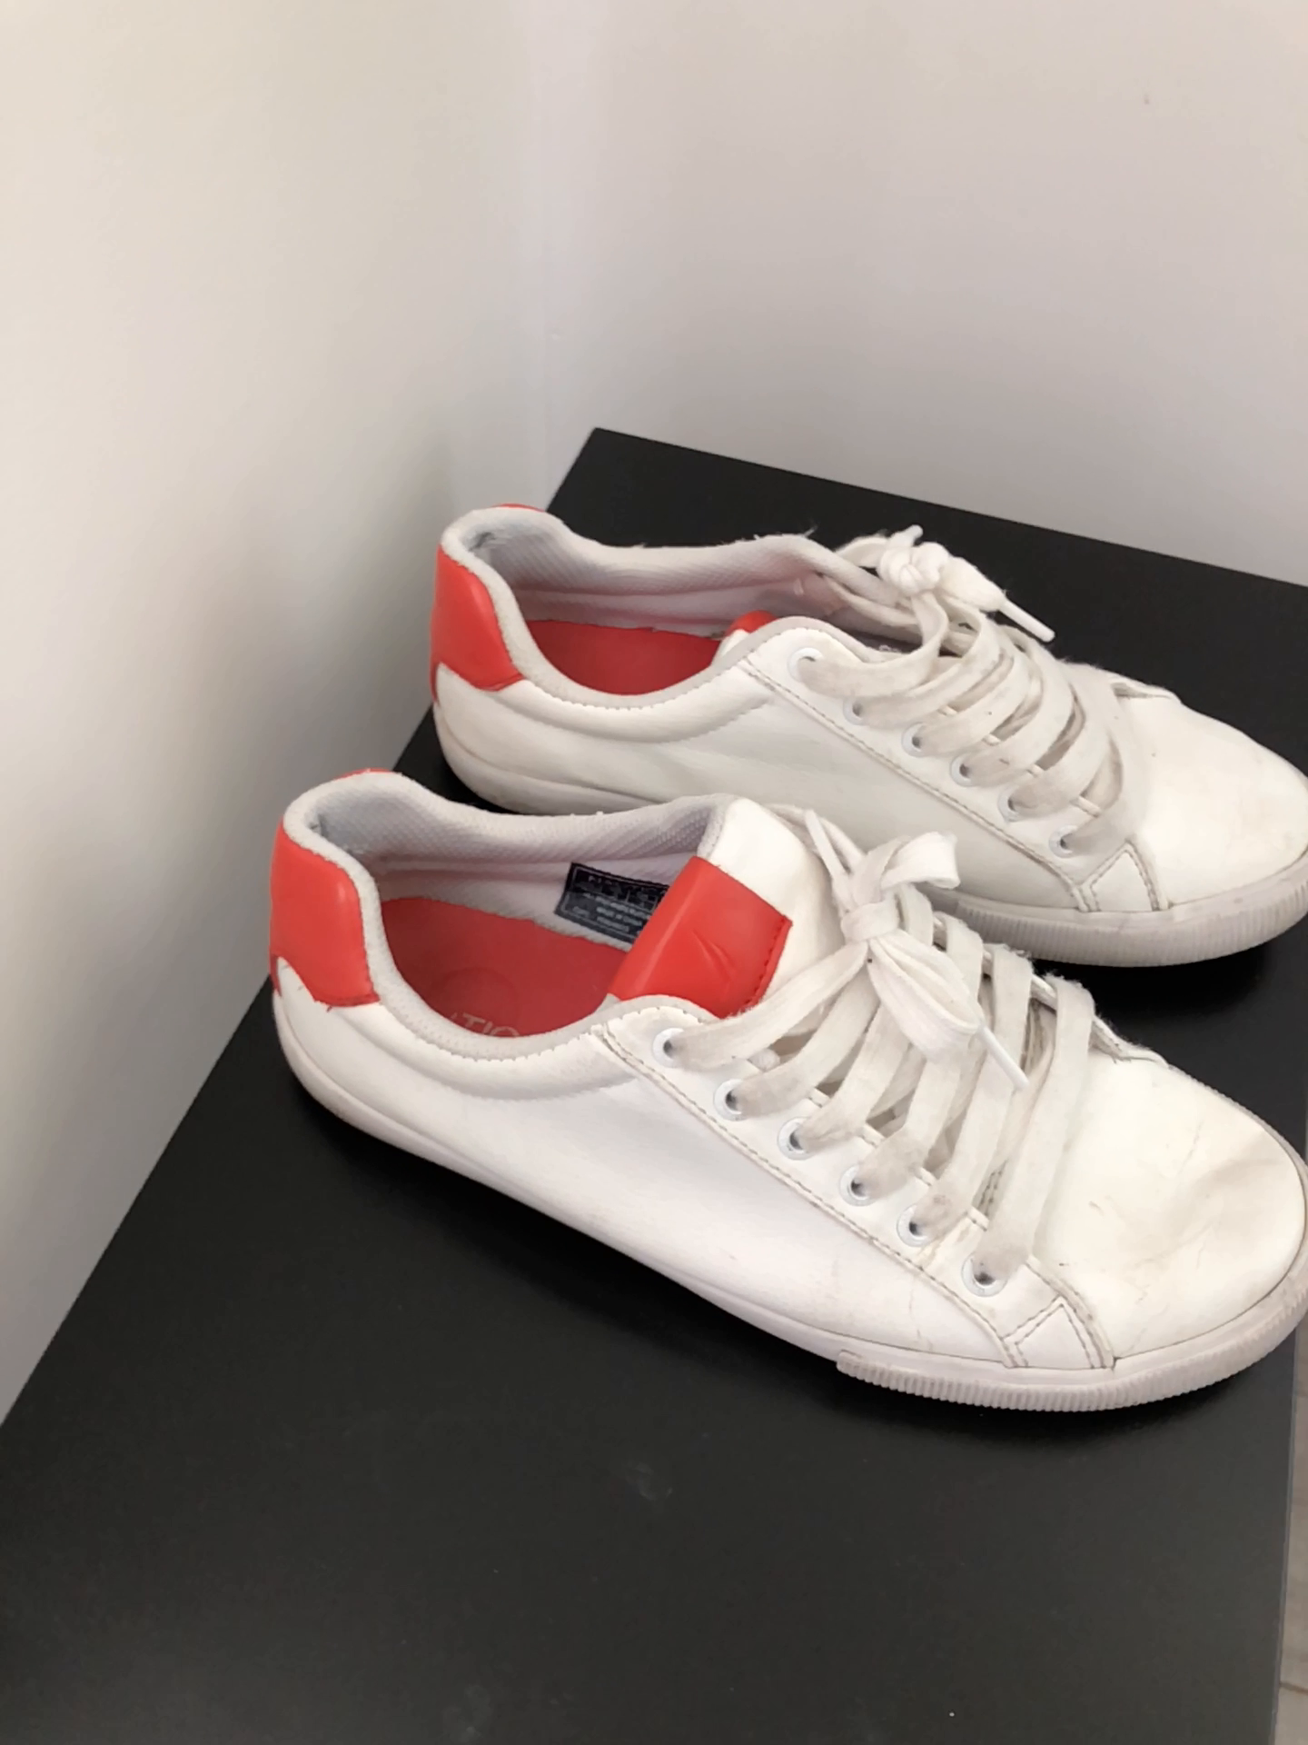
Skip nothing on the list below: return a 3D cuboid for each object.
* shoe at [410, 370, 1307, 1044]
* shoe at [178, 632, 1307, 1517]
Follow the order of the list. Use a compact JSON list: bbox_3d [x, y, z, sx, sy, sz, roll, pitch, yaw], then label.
[{"bbox_3d":[0.066,-0.047,0.379,0.230,0.080,0.100,14,52,8],"label":"shoe"},{"bbox_3d":[0.039,0.038,0.308,0.235,0.080,0.102,14,52,8],"label":"shoe"}]
